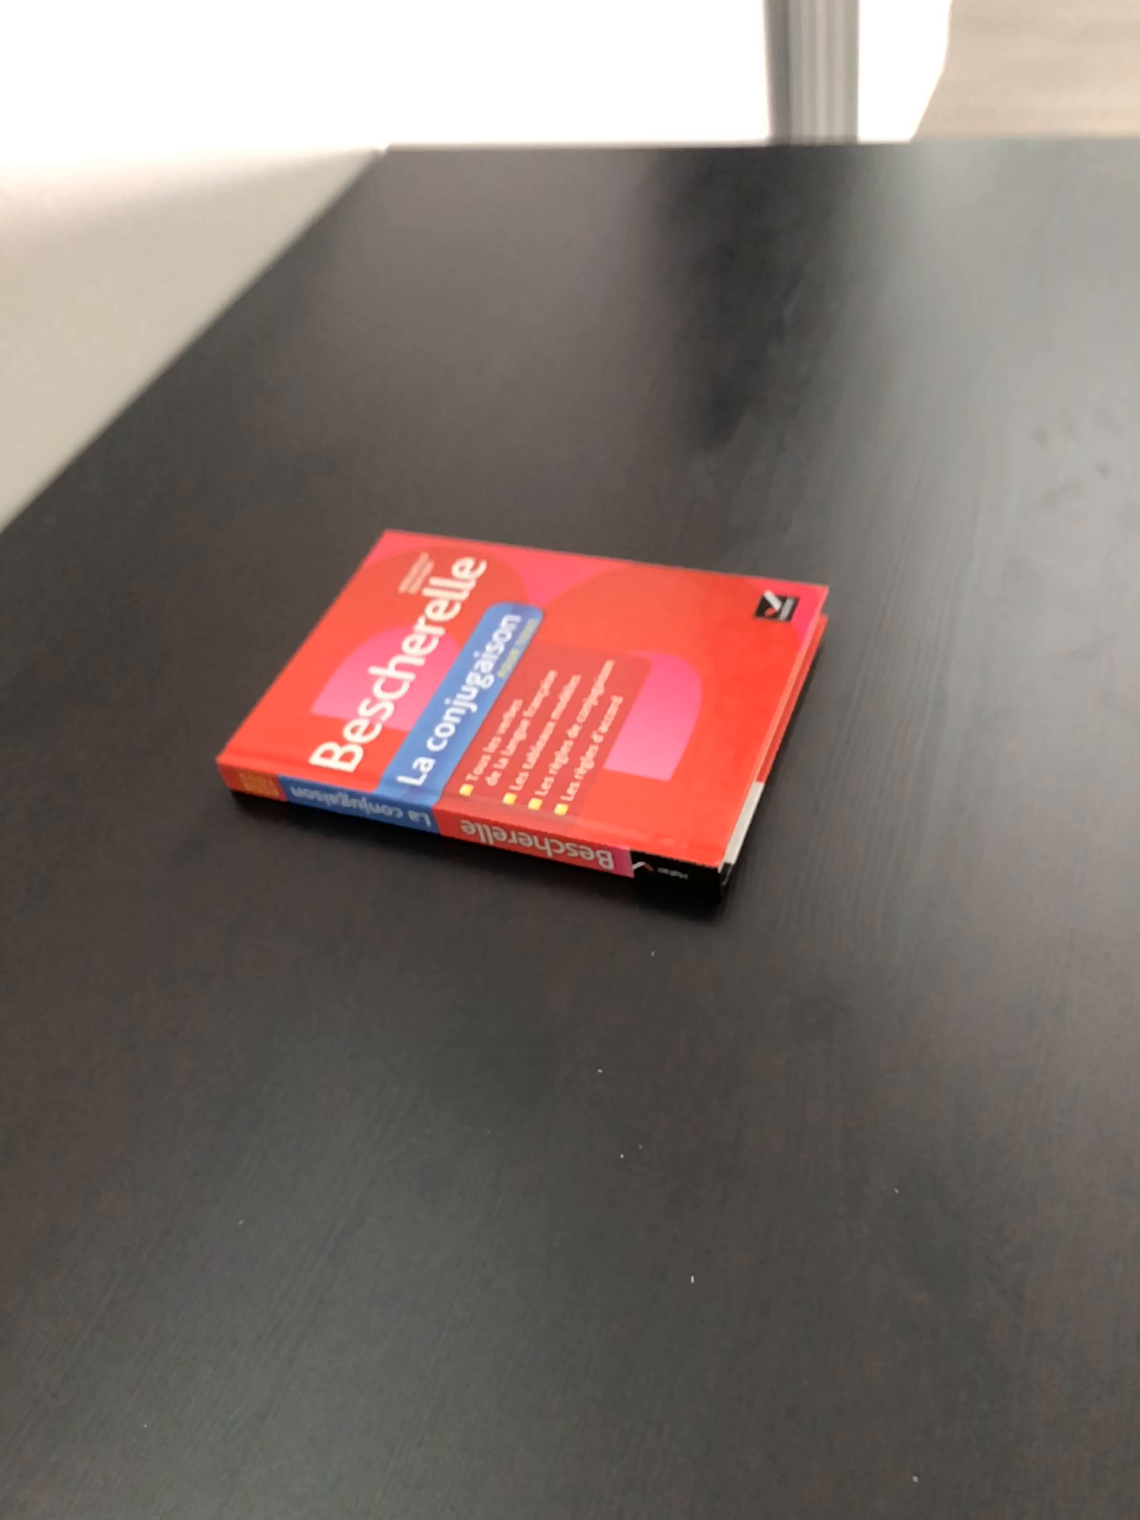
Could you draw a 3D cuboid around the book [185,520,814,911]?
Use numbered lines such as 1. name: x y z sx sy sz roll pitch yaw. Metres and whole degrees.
1. book: -0.024 -0.029 0.496 0.203 0.020 0.151 11 51 21
